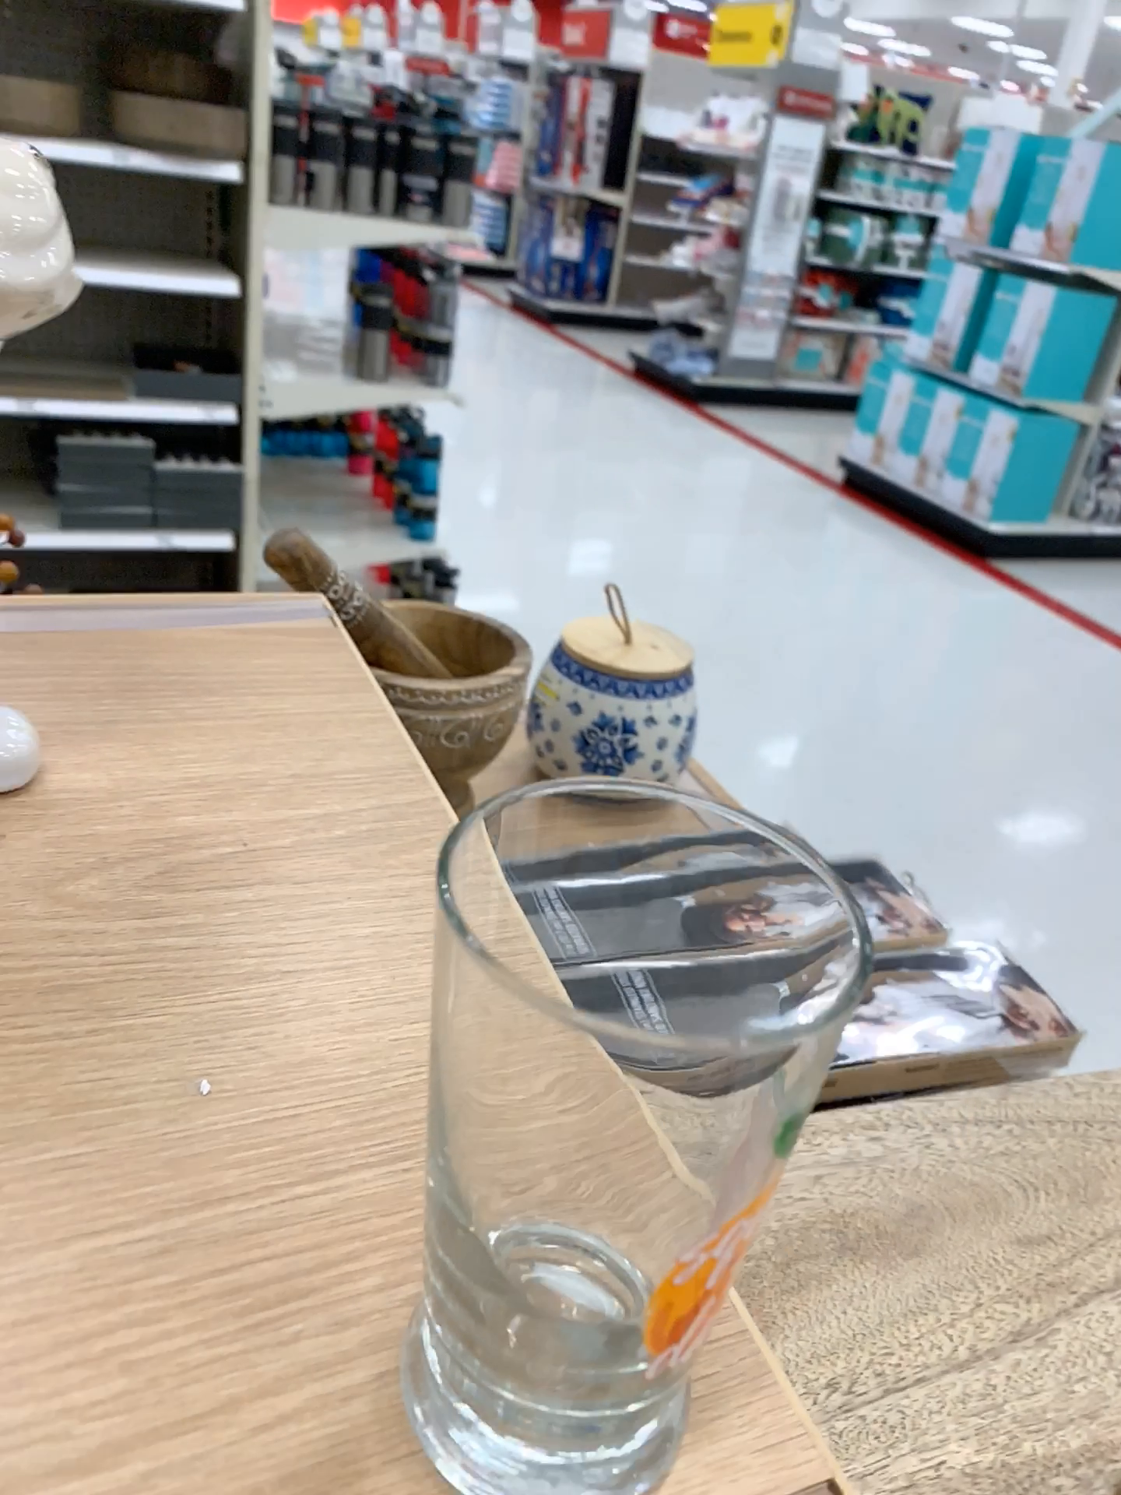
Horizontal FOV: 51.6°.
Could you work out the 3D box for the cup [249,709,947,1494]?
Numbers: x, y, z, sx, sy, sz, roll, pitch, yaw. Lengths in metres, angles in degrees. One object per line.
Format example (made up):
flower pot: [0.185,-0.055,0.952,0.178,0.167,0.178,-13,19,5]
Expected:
cup: [0.004,0.073,0.206,0.080,0.119,0.080,7,28,-4]
